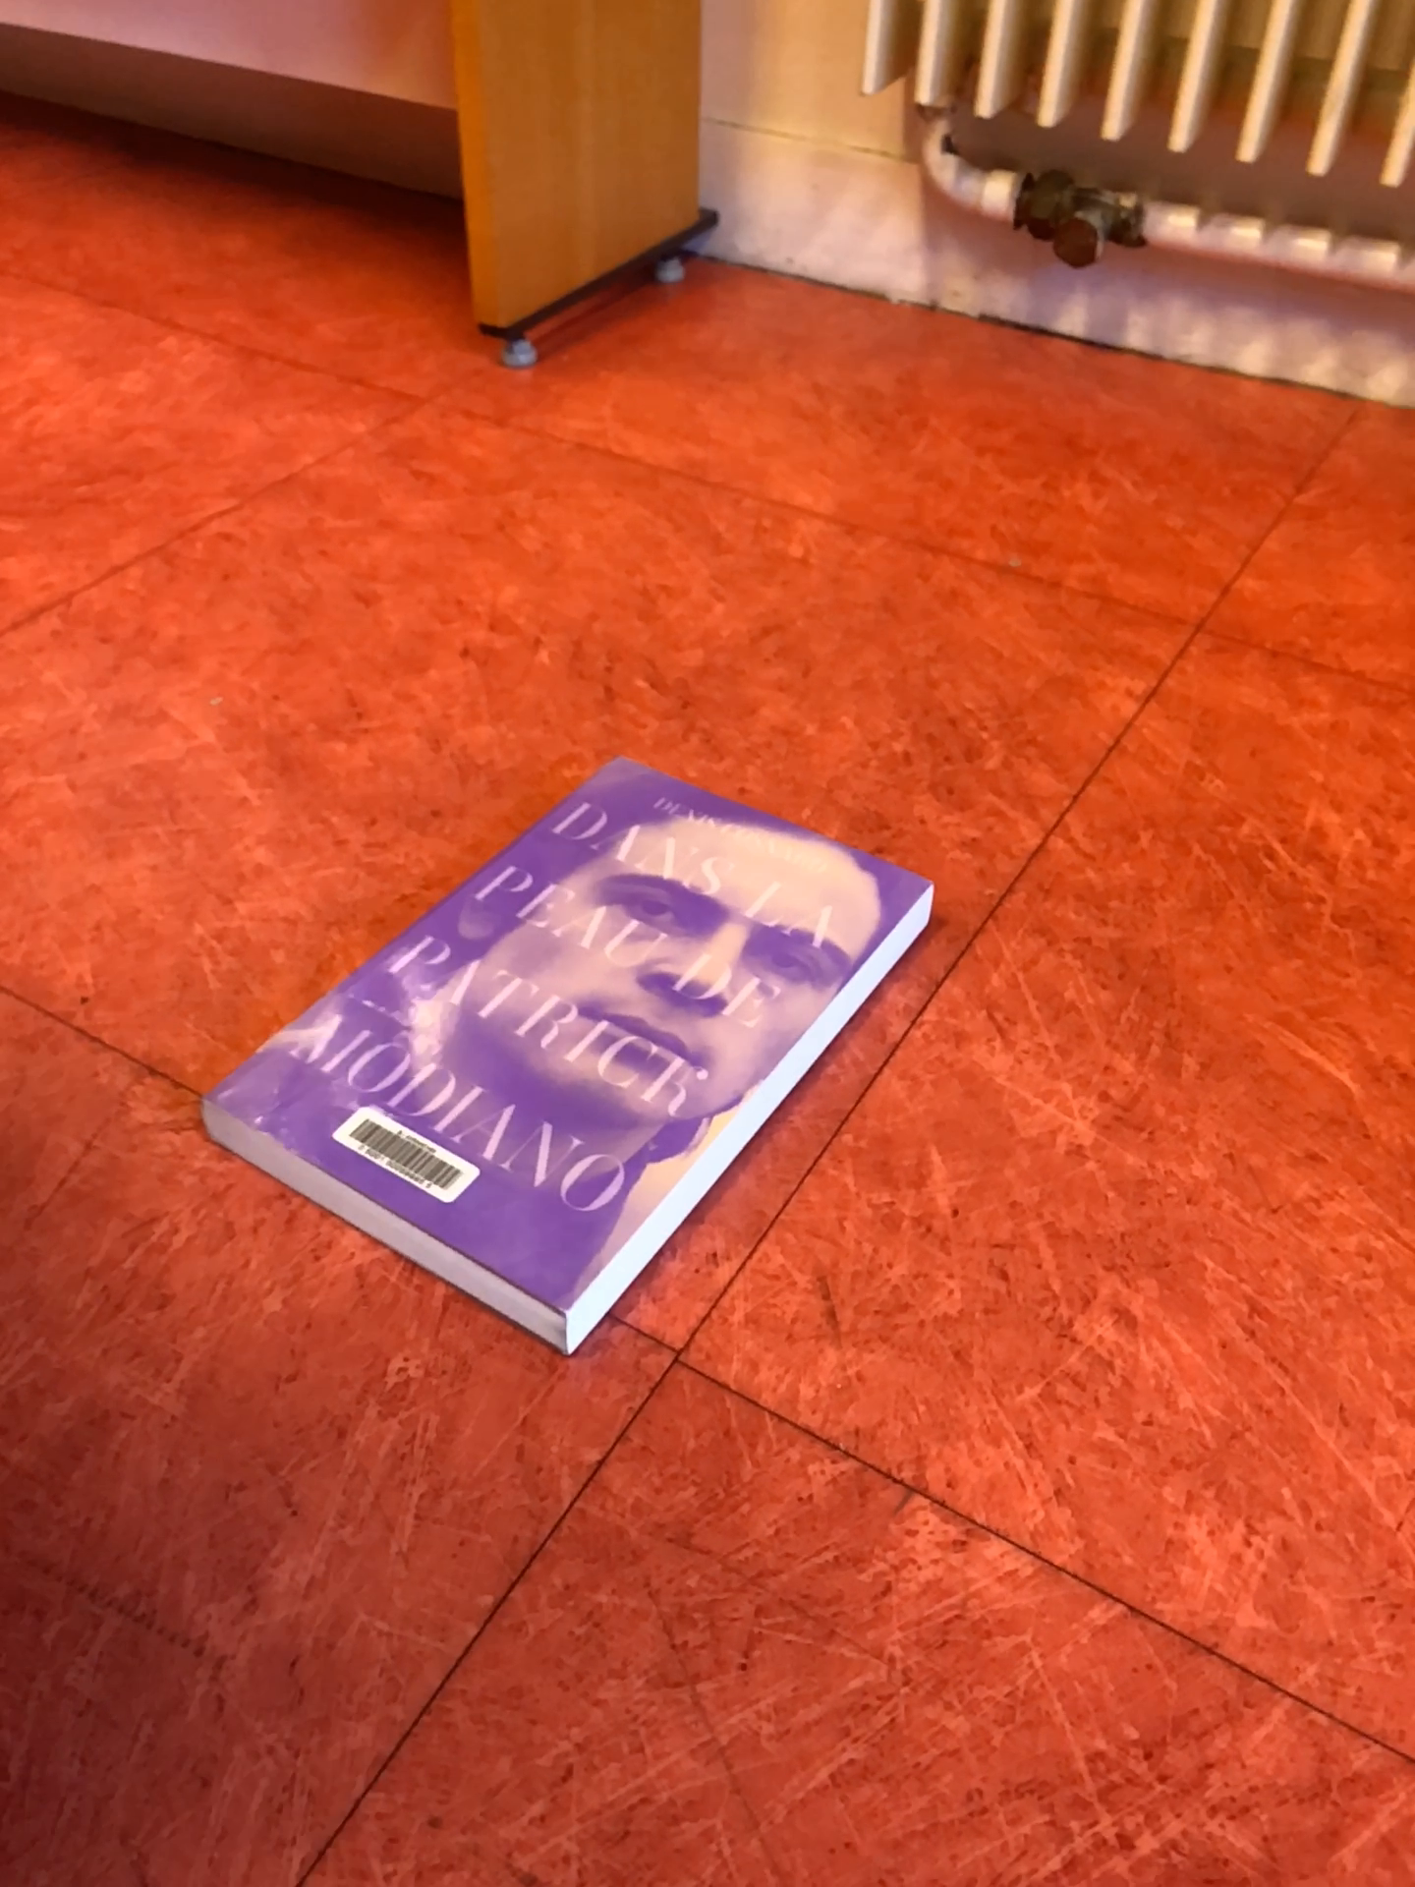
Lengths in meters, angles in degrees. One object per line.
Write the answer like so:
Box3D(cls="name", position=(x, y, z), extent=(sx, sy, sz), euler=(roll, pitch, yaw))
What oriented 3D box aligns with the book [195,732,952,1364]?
Box3D(cls="book", position=(-0.036, 0.018, 0.548), extent=(0.150, 0.030, 0.234), euler=(25, 47, 23))
